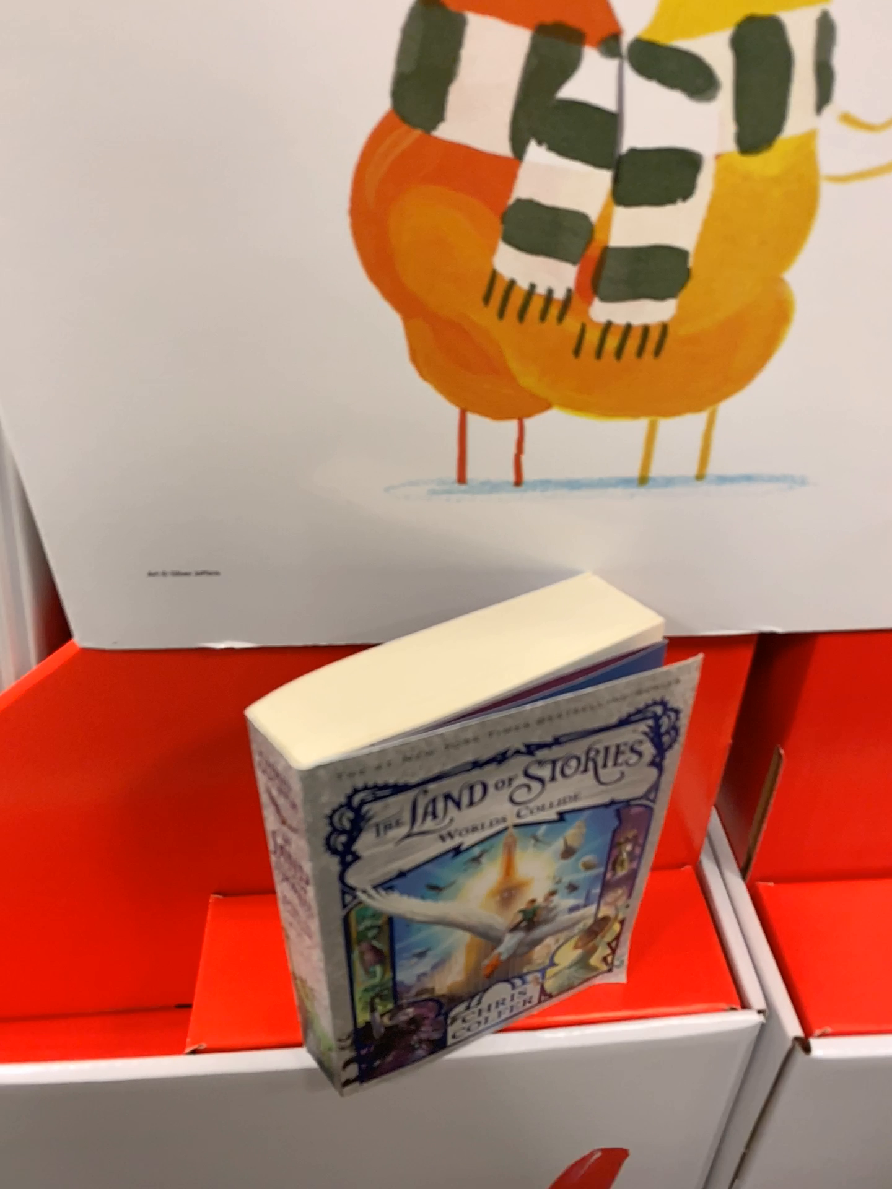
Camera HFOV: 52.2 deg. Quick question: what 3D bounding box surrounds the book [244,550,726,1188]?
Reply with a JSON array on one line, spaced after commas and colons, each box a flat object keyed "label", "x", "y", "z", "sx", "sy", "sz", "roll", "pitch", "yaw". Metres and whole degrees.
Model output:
[{"label": "book", "x": 0.016, "y": 0.101, "z": 0.326, "sx": 0.130, "sy": 0.193, "sz": 0.065, "roll": -23, "pitch": 42, "yaw": -27}]
